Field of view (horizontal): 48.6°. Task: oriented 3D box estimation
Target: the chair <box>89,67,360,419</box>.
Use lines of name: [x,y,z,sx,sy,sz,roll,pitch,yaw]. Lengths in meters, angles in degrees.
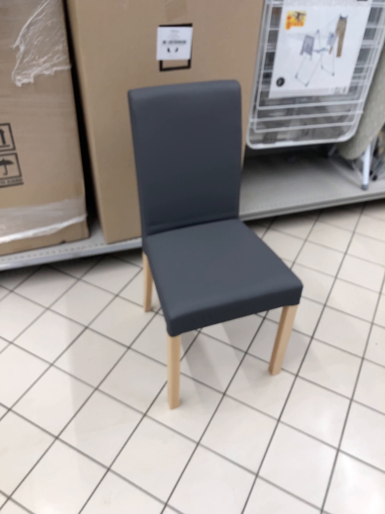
chair: [0.025,-0.043,1.306,0.471,0.825,0.572,-13,43,-17]
